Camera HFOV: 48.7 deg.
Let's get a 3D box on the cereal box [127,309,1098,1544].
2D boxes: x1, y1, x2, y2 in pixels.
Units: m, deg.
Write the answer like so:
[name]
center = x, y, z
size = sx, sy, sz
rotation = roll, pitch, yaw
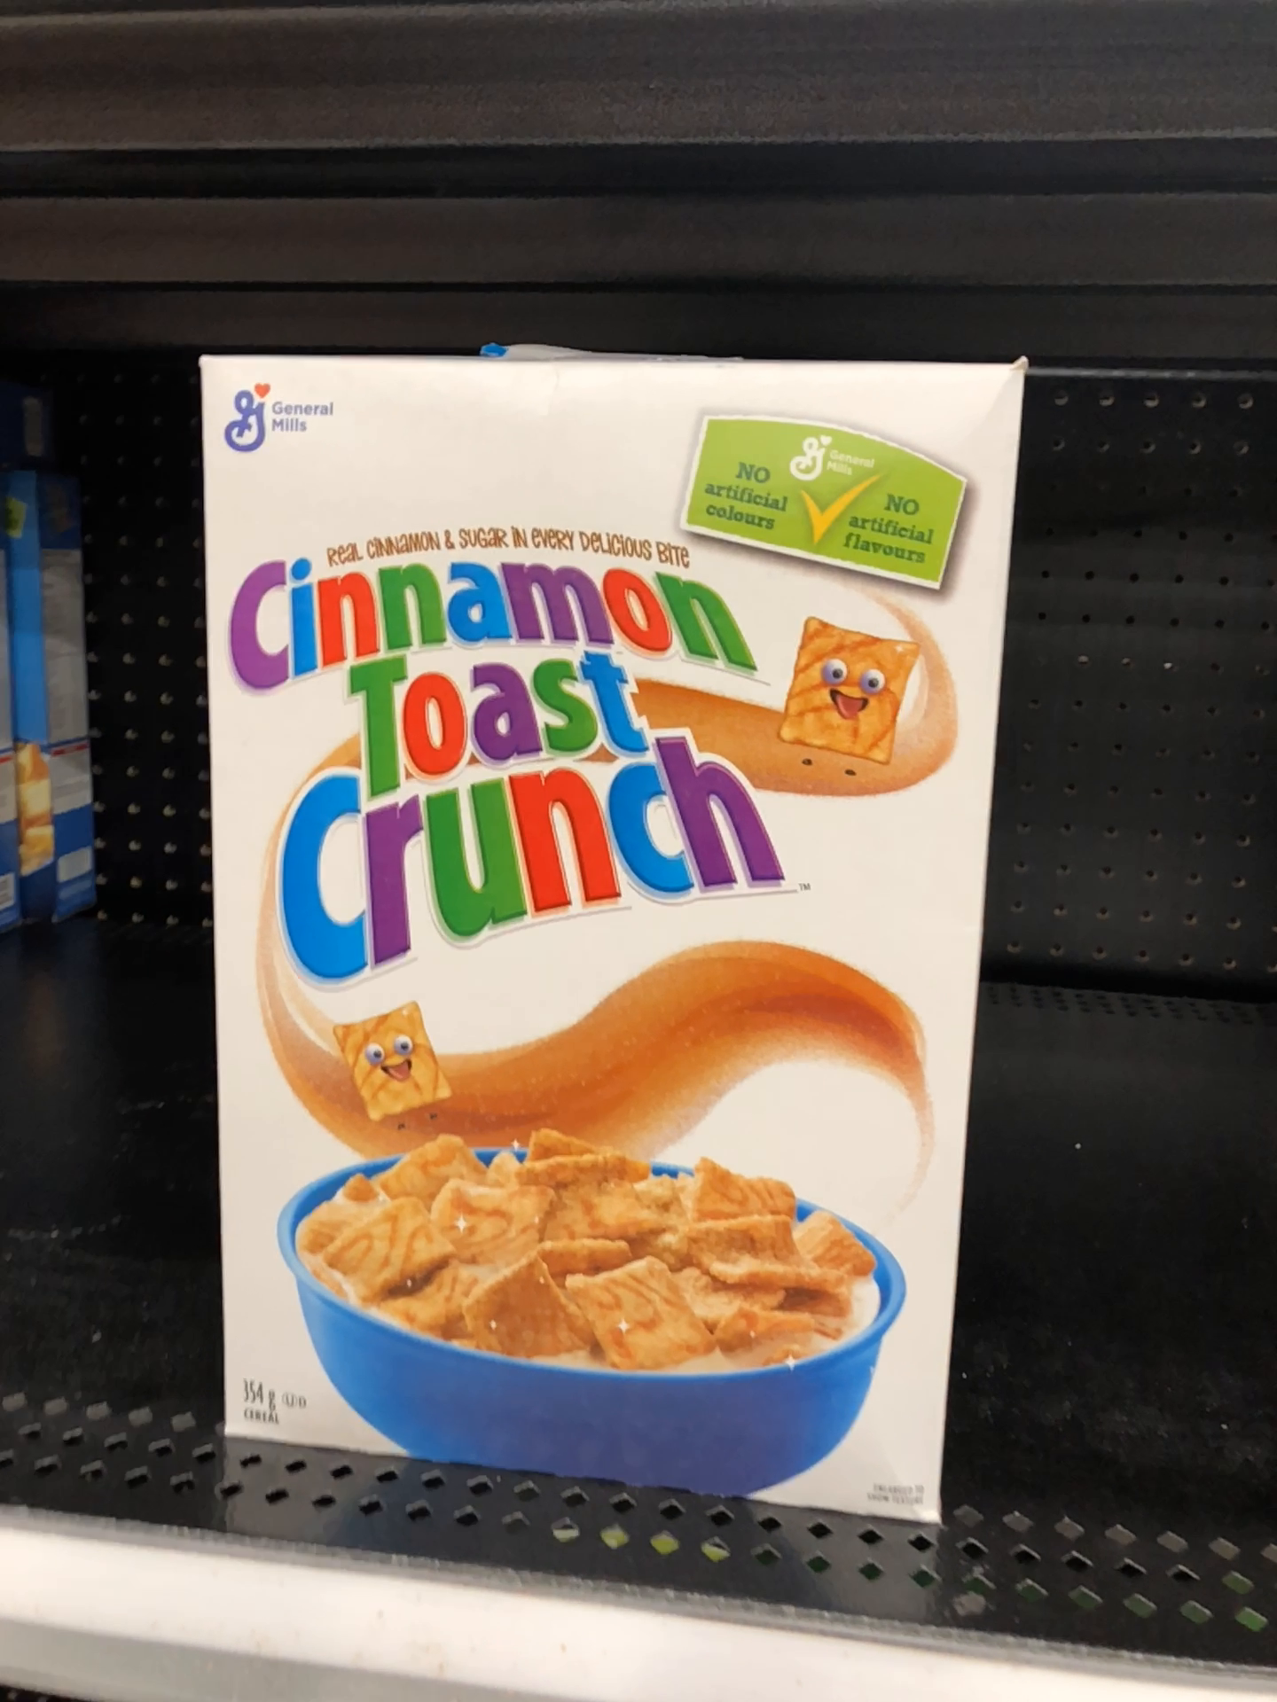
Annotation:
[cereal box]
center = -0.011, 0.017, 0.350
size = 0.210, 0.279, 0.050
rotation = 3, 11, 8
